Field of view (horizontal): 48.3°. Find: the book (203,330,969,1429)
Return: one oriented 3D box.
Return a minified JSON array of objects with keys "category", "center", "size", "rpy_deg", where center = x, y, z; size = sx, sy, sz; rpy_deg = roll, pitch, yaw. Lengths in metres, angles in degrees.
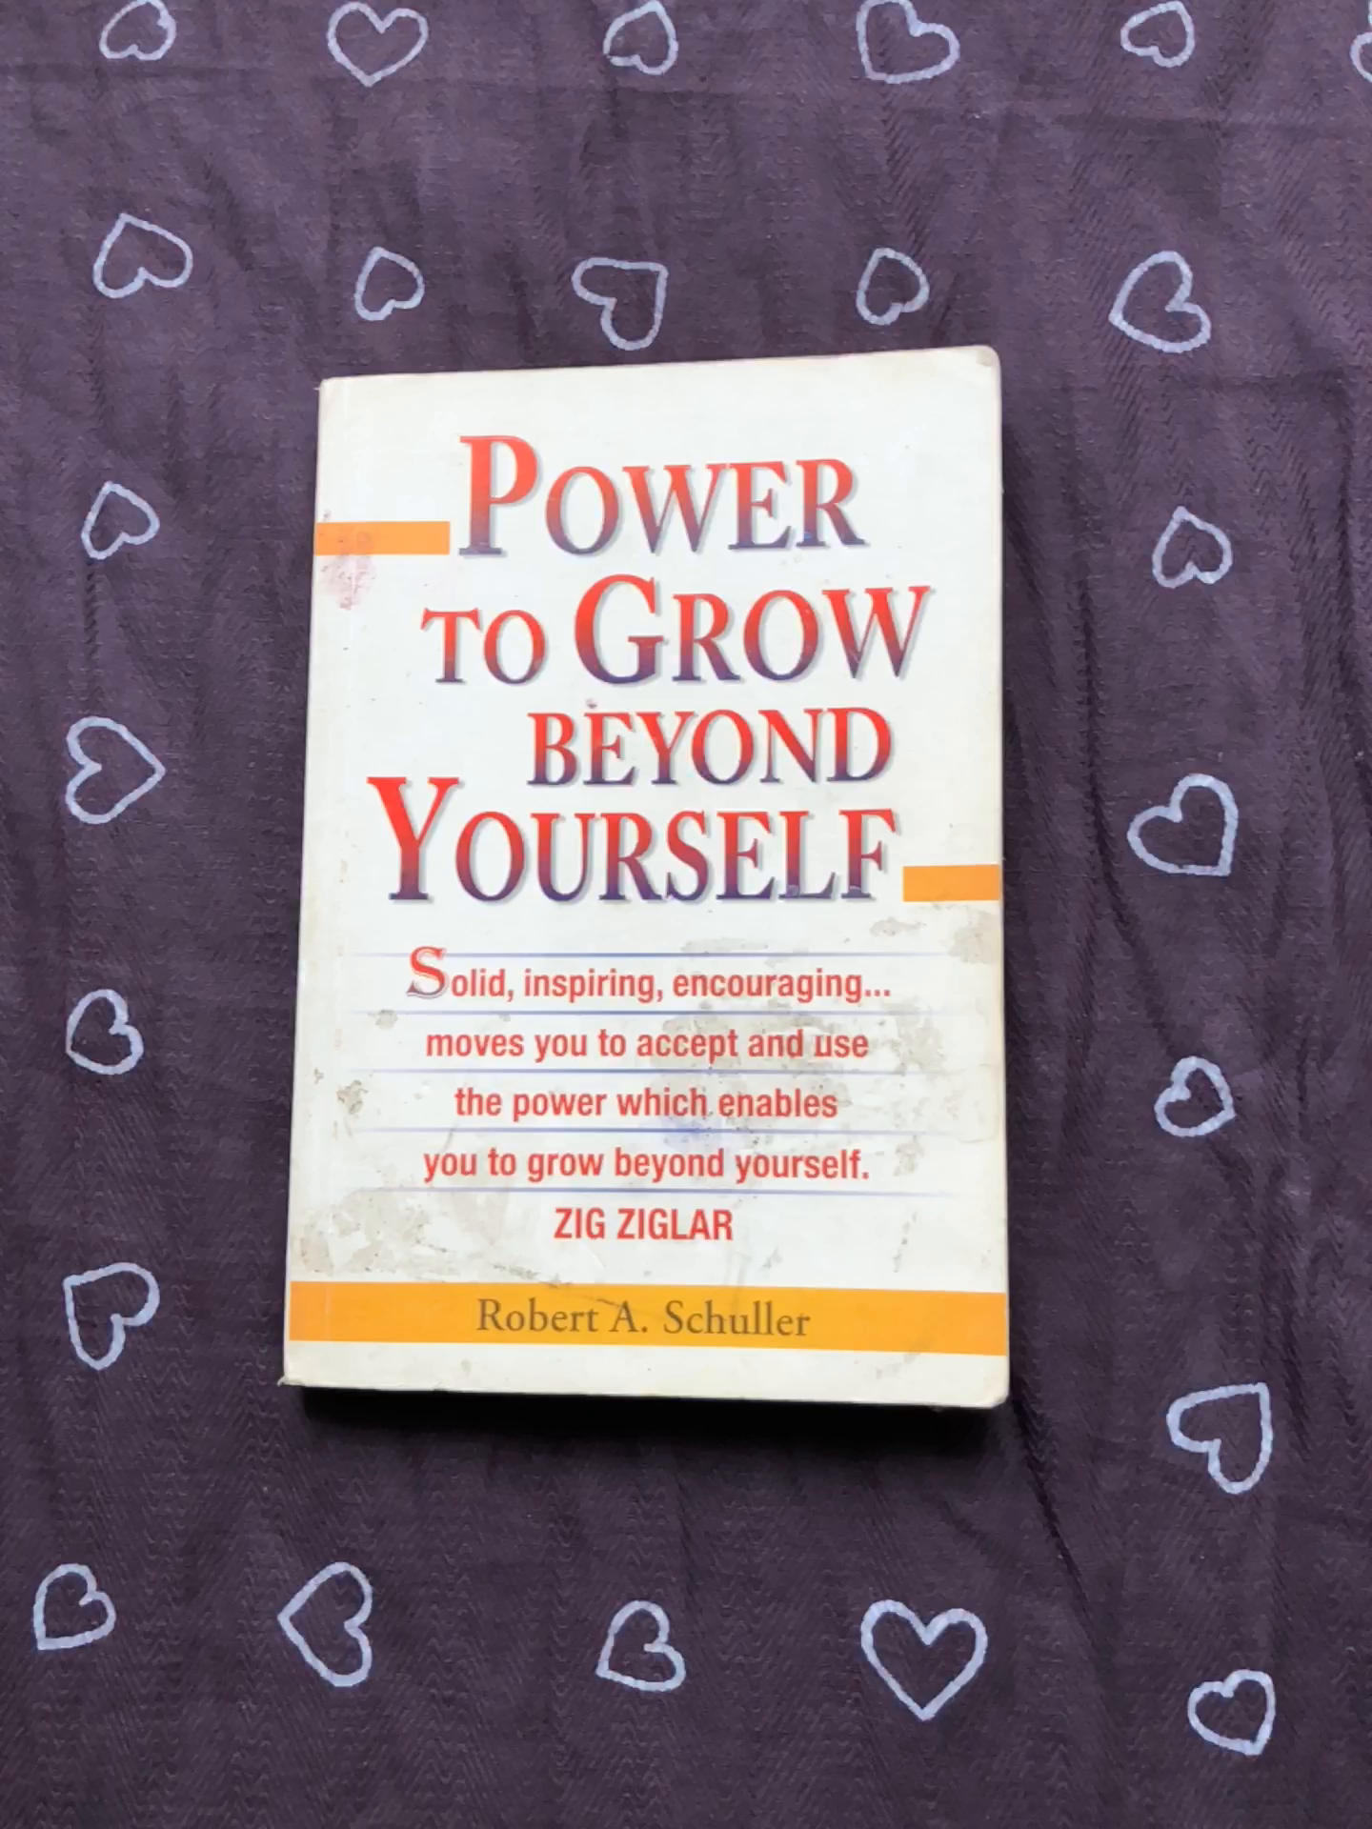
[{"category":"book","center":[-0.014,-0.008,0.265],"size":[0.120,0.030,0.180],"rpy_deg":[1,83,2]}]
